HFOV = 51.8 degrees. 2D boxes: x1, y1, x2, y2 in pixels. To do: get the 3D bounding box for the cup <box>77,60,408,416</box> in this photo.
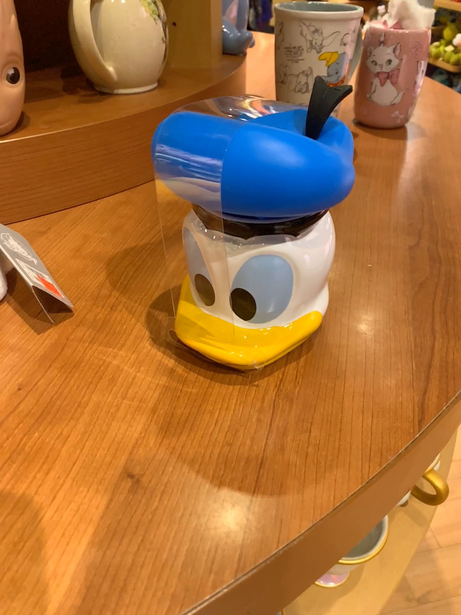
[{"bbox_3d":[0.016,-0.051,0.285,0.105,0.132,0.150,22,47,25],"label":"cup"}]
